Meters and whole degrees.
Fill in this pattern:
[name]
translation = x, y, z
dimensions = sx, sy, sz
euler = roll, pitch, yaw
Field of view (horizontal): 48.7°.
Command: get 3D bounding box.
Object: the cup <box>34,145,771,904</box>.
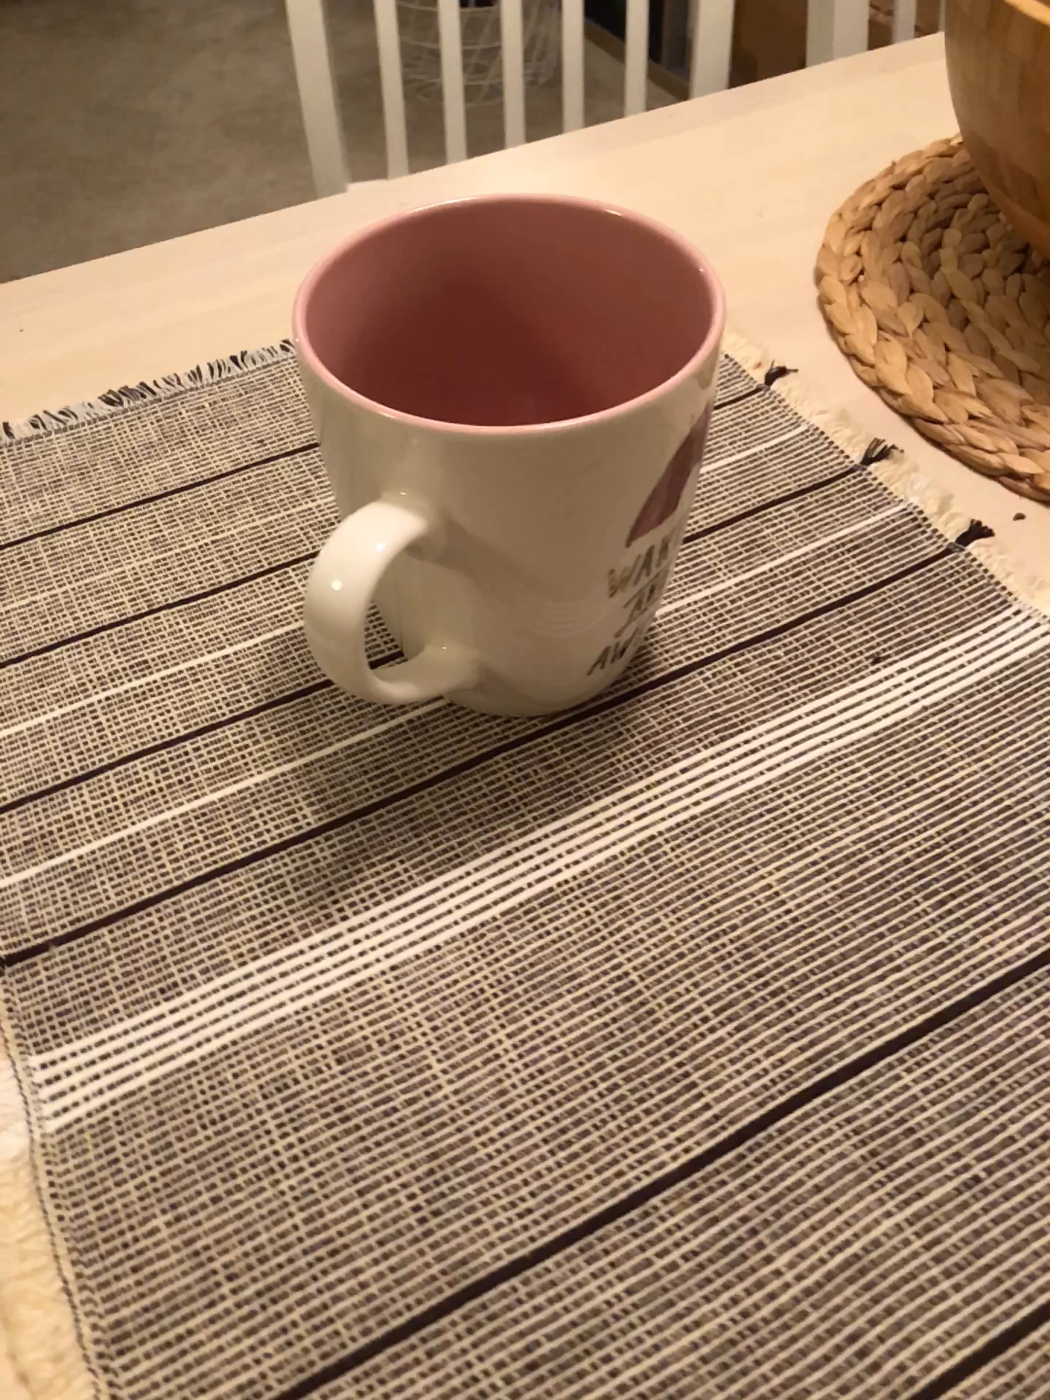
[cup]
translation = -0.021, -0.058, 0.337
dimensions = 0.120, 0.119, 0.161
euler = 21, 53, 18
